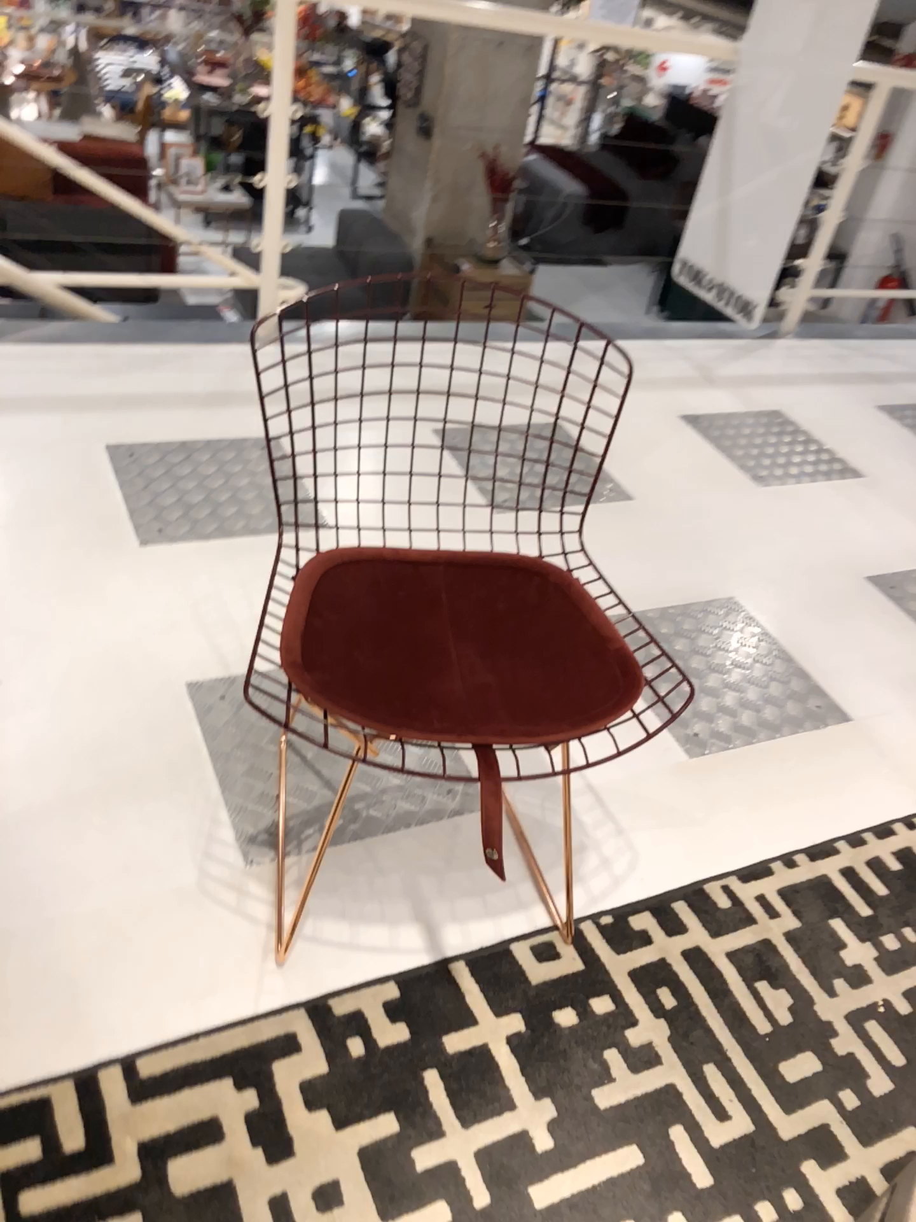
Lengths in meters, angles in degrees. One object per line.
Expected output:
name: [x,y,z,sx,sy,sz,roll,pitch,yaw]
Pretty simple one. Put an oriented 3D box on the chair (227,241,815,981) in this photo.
chair: [-0.021,0.020,1.307,0.511,0.764,0.503,2,37,-15]
